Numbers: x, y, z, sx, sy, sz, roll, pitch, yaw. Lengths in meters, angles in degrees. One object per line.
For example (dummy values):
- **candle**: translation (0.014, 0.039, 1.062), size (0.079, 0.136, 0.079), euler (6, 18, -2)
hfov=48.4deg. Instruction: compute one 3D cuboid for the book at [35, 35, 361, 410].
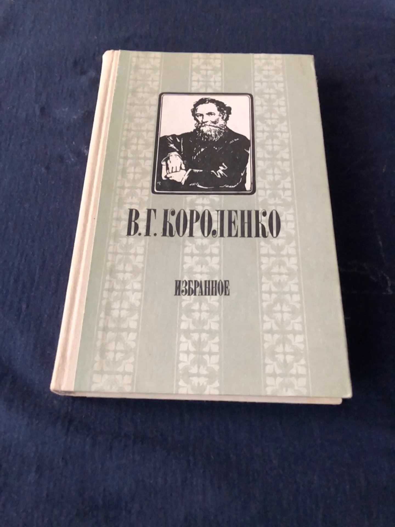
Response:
- **book**: translation (0.003, -0.035, 0.236), size (0.132, 0.030, 0.210), euler (2, 65, 0)
